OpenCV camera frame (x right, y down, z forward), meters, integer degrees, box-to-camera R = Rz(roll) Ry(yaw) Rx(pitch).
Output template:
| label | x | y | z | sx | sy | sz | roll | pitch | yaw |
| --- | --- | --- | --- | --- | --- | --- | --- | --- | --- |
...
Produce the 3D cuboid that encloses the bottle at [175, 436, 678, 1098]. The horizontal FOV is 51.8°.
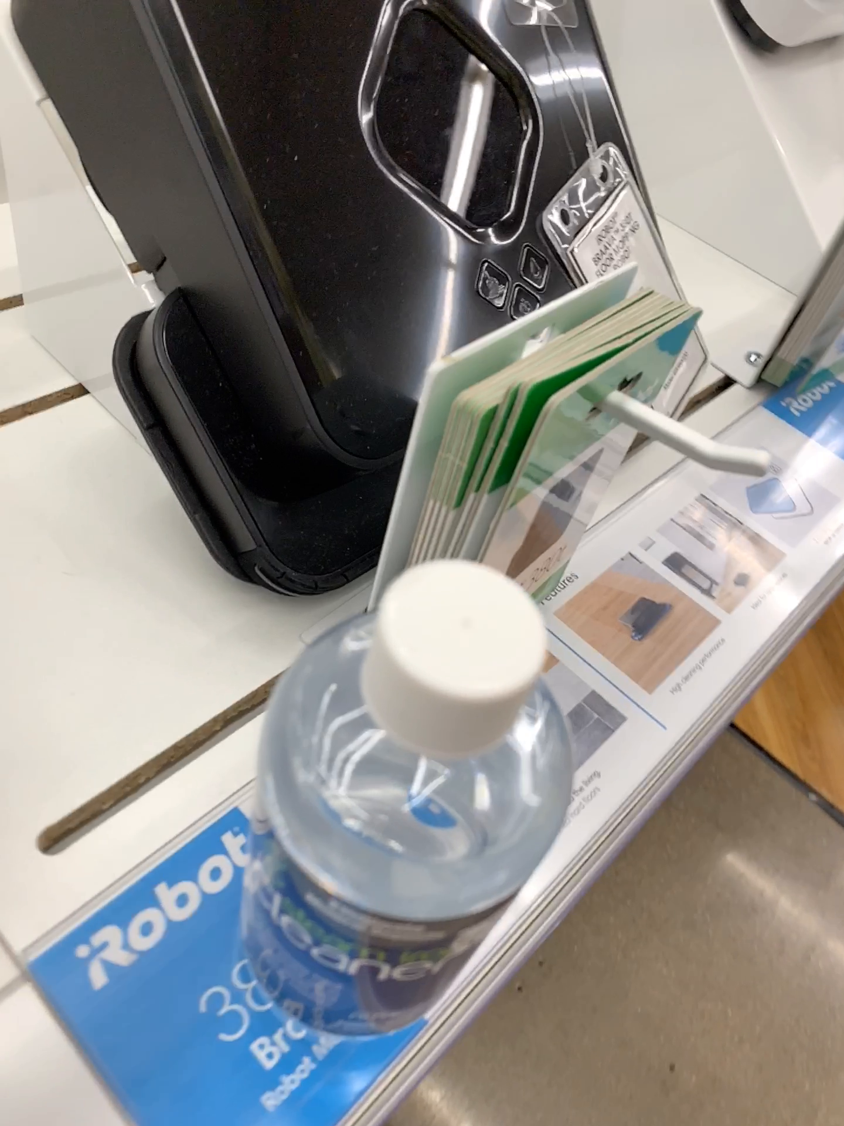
| label | x | y | z | sx | sy | sz | roll | pitch | yaw |
| --- | --- | --- | --- | --- | --- | --- | --- | --- | --- |
| bottle | -0.007 | 0.051 | 0.178 | 0.060 | 0.129 | 0.060 | 8 | 47 | -9 |
